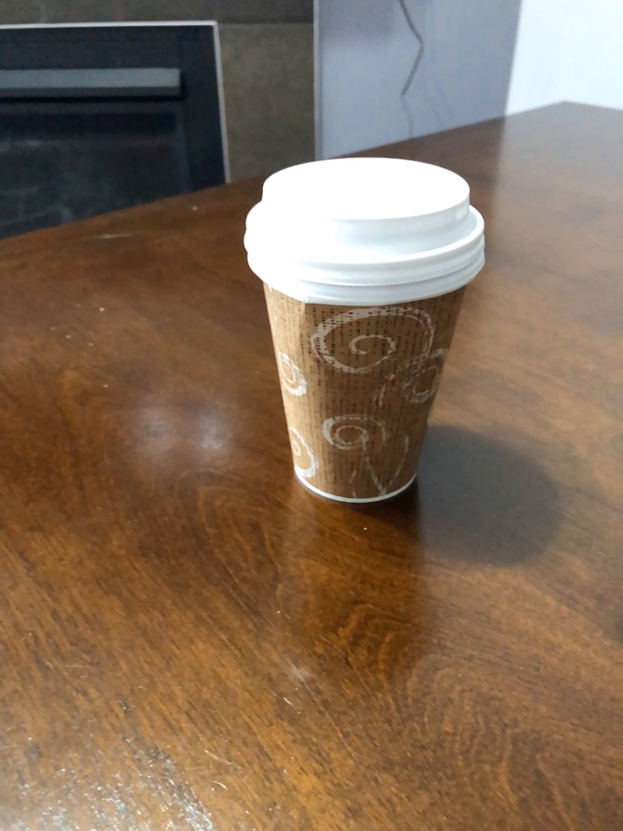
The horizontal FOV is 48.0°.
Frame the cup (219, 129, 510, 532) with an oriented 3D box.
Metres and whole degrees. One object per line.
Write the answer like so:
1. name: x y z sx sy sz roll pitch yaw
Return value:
1. cup: 0.019 -0.031 0.228 0.070 0.100 0.080 6 34 9
